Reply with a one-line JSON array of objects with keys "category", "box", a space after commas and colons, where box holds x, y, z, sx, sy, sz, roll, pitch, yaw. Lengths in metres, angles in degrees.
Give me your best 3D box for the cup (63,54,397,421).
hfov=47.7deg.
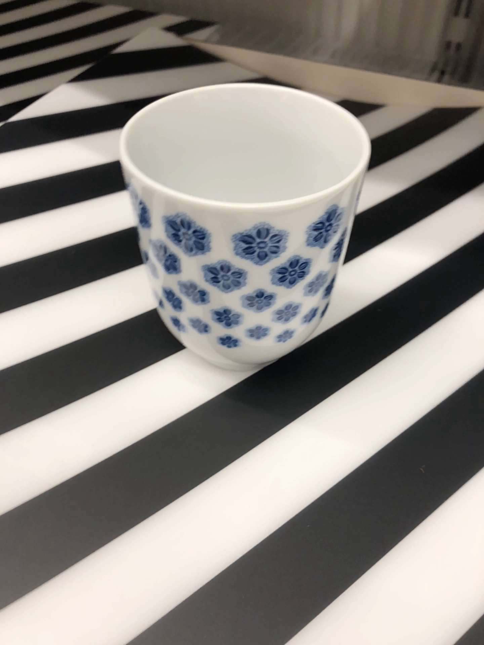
[{"category": "cup", "box": [0.001, -0.032, 0.189, 0.070, 0.080, 0.080, 19, 48, 17]}]
